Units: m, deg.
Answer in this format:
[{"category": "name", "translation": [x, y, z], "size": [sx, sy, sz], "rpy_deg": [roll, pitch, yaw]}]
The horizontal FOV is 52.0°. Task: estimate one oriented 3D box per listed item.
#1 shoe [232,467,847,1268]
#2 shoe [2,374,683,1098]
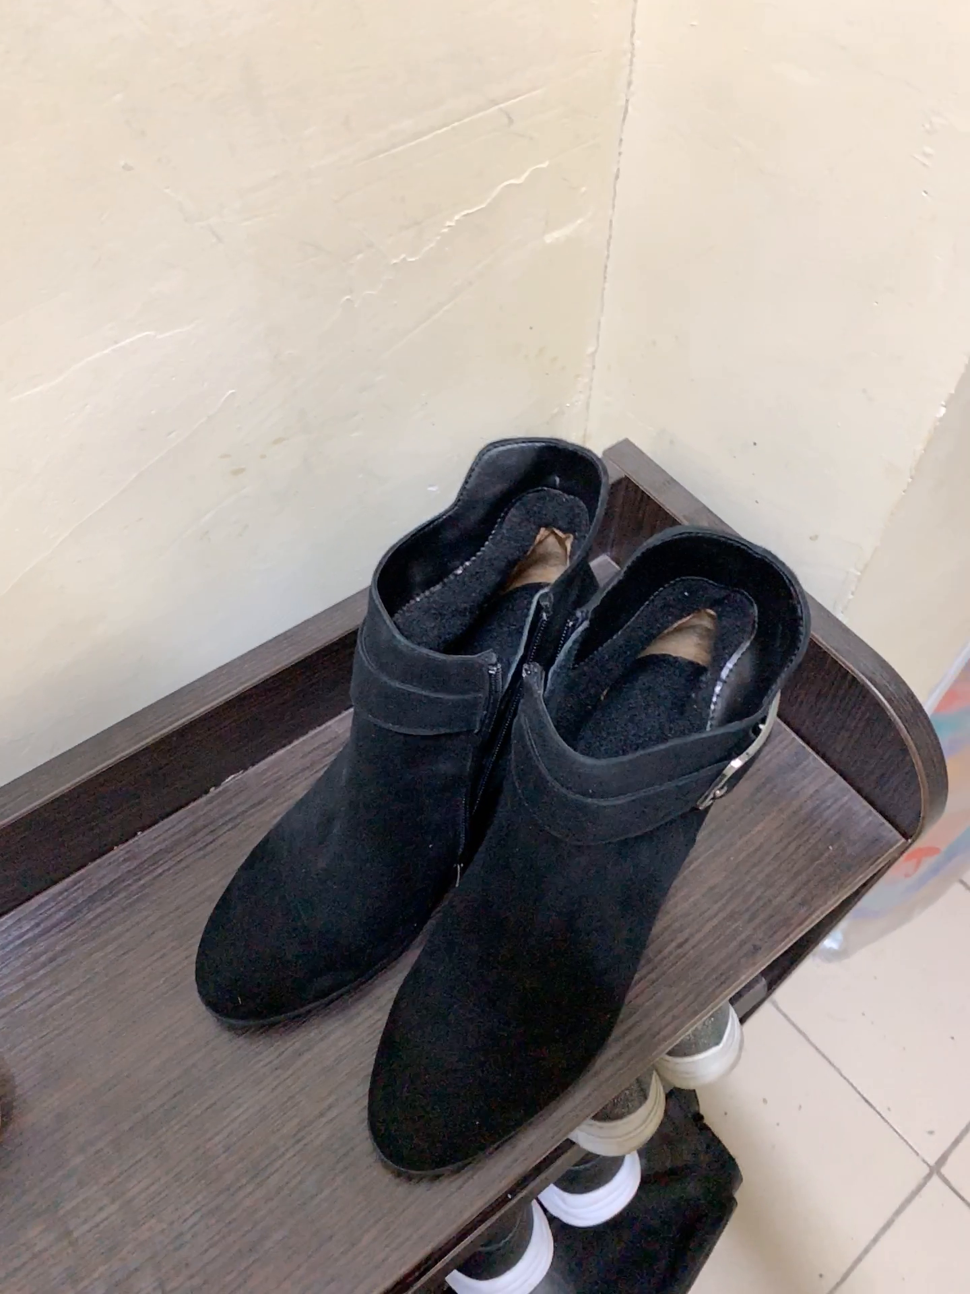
[{"category": "shoe", "translation": [0.030, 0.087, 0.390], "size": [0.088, 0.189, 0.241], "rpy_deg": [27, 57, 17]}, {"category": "shoe", "translation": [-0.038, 0.039, 0.418], "size": [0.088, 0.189, 0.240], "rpy_deg": [35, 60, 22]}]
